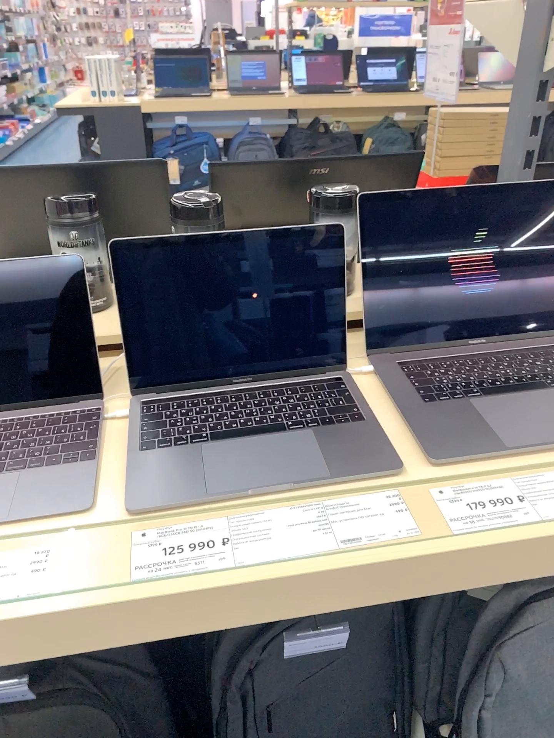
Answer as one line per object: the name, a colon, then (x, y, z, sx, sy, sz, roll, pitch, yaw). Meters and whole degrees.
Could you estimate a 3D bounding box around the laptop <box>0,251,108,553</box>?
laptop: (-0.352, 0.013, 0.629, 0.280, 0.172, 0.267, -7, 33, -9)

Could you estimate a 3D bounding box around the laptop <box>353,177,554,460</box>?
laptop: (0.317, -0.093, 0.741, 0.346, 0.210, 0.329, -6, 31, -7)

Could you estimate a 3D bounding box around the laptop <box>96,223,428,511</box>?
laptop: (-0.032, -0.024, 0.661, 0.299, 0.195, 0.261, -7, 32, -10)
